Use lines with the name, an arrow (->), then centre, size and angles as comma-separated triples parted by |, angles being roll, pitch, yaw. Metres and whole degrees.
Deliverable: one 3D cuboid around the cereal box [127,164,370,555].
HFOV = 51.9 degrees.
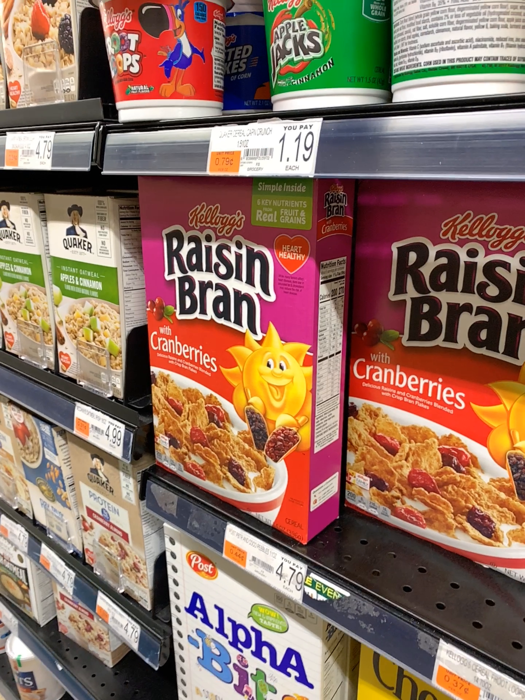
cereal box -> -0.021, -0.005, 0.462 | 0.200, 0.289, 0.060 | 15, 23, 39
